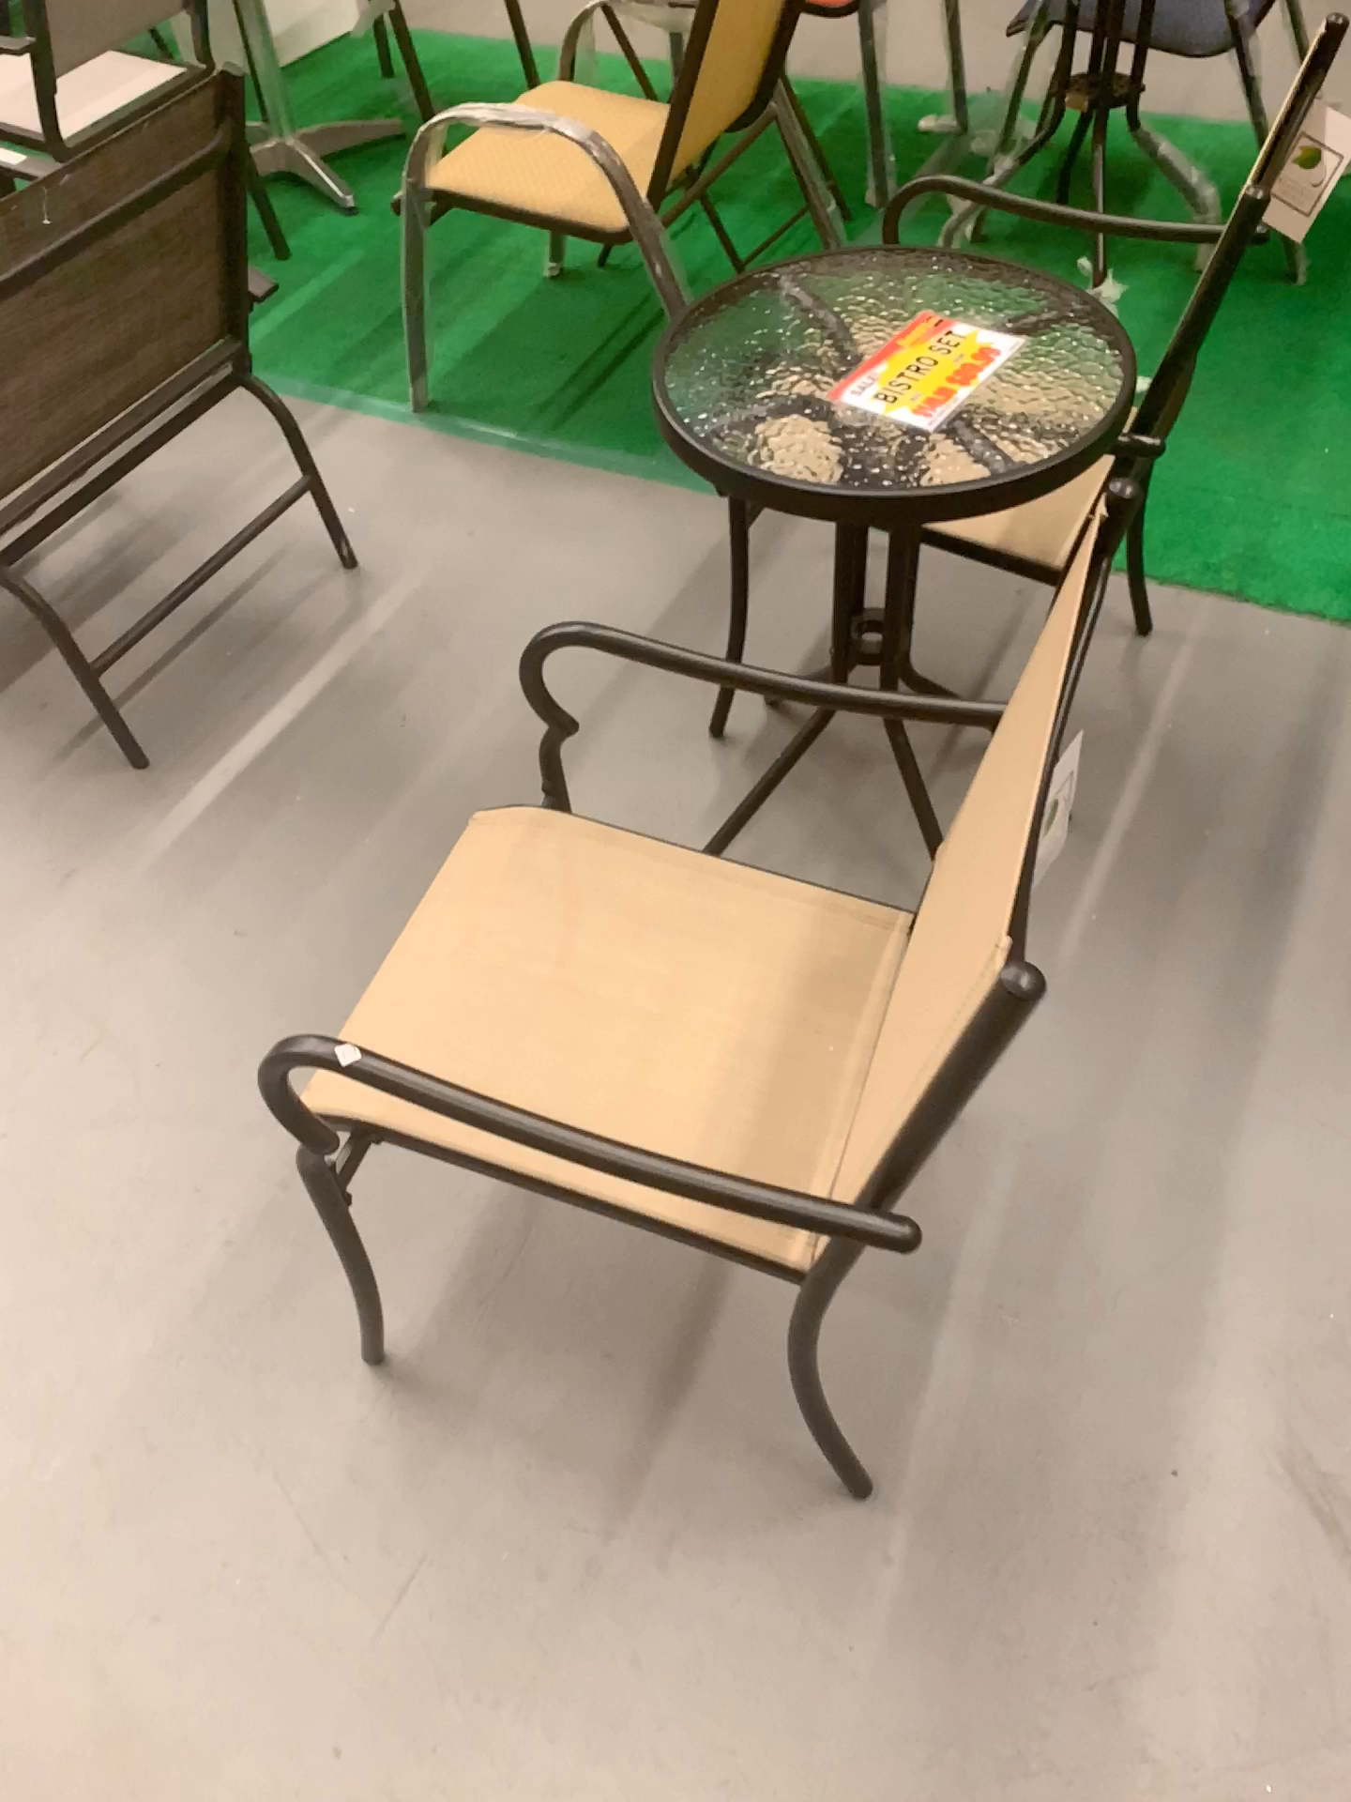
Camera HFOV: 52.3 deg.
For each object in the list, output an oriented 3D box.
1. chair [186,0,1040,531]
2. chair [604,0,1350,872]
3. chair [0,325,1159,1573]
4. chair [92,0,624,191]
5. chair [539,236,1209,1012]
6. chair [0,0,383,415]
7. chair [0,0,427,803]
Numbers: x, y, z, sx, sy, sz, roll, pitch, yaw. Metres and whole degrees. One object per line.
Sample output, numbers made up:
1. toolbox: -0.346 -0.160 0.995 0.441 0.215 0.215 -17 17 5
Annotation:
1. chair: -0.045 -1.400 2.429 1.027 0.982 0.807 18 53 19
2. chair: 0.394 -0.652 1.767 0.676 0.923 0.616 17 53 19
3. chair: -0.010 0.076 1.221 0.616 0.863 0.576 13 52 15
4. chair: -0.714 -2.406 3.409 0.886 0.873 0.676 18 53 19
5. chair: 0.240 -0.333 1.662 0.546 0.634 0.526 17 53 18
6. chair: -1.264 -1.682 2.861 0.886 0.923 0.676 18 53 19
7. chair: -0.999 -0.773 2.037 0.886 0.803 0.676 18 53 19
